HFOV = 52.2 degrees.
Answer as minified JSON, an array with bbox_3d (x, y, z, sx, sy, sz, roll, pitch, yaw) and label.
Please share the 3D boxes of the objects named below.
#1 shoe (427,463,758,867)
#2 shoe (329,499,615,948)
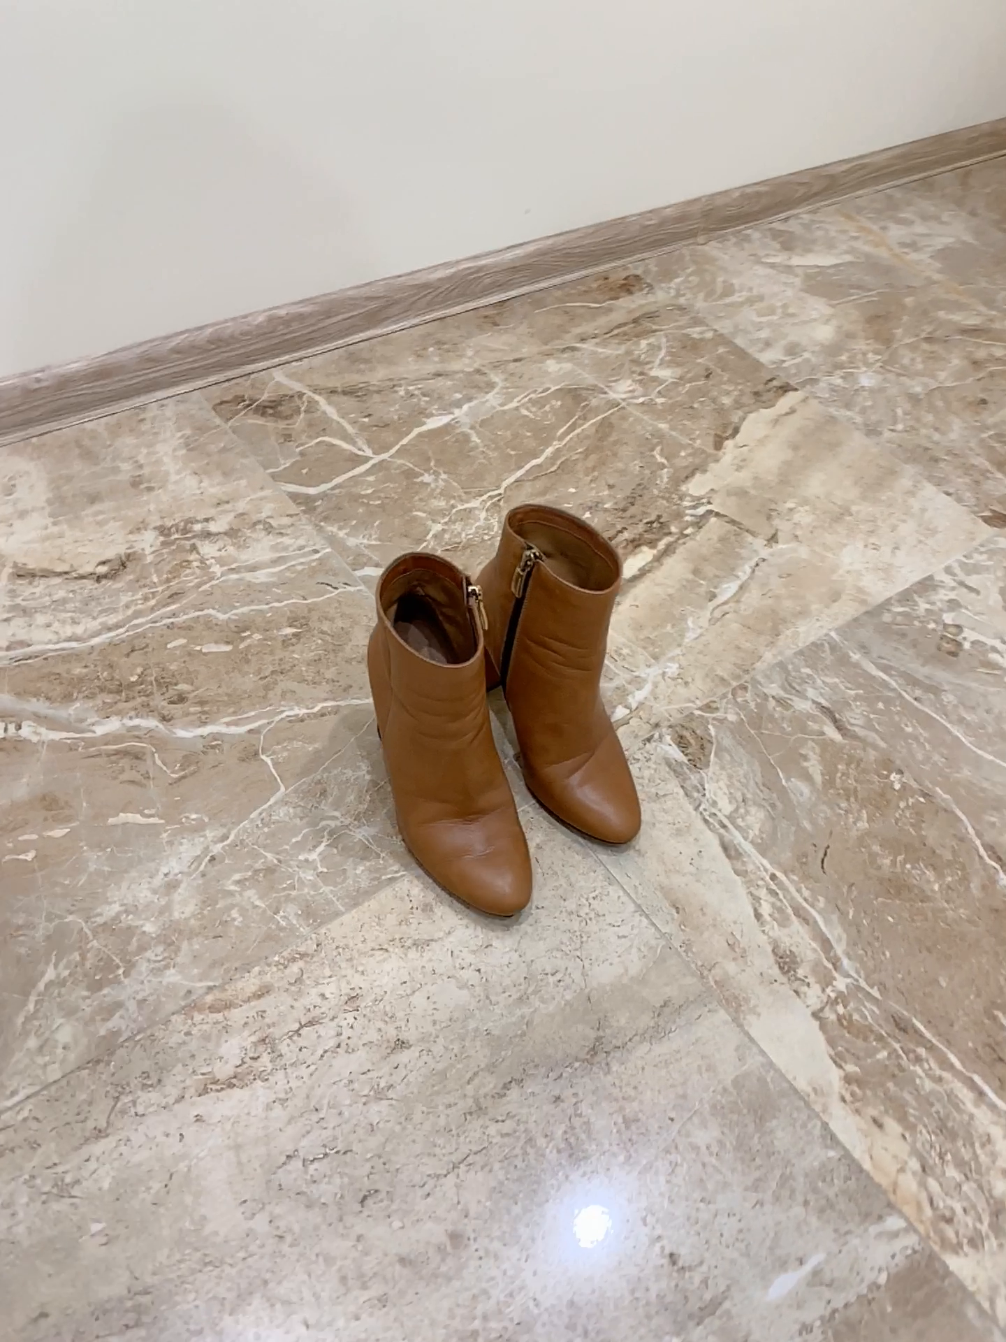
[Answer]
[{"bbox_3d":[0.048,-0.005,0.727,0.090,0.175,0.211,-26,58,-28],"label":"shoe"},{"bbox_3d":[-0.036,0.033,0.691,0.090,0.185,0.221,-16,54,-22],"label":"shoe"}]
